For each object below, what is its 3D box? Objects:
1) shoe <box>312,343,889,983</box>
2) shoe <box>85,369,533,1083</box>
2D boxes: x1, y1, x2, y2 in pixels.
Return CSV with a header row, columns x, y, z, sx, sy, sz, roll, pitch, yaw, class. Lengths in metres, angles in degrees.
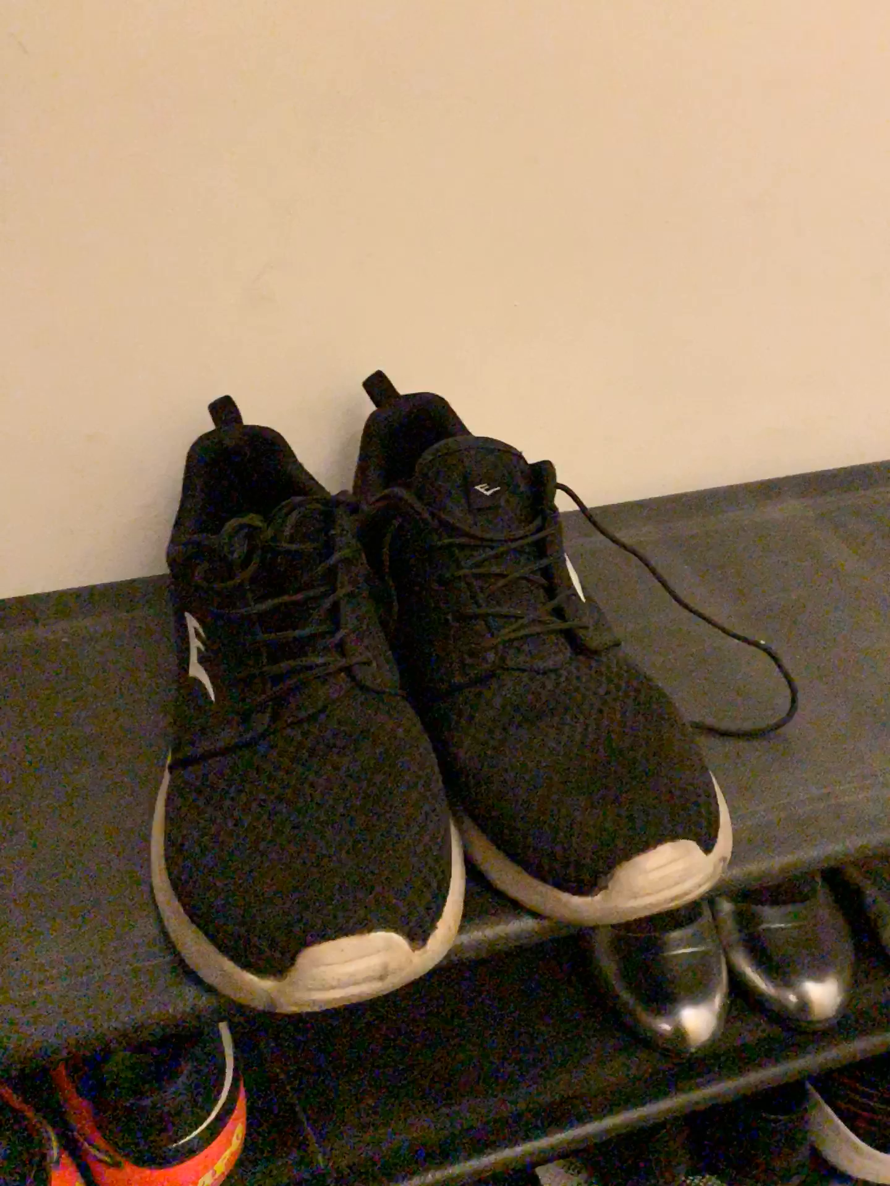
x,y,z,sx,sy,sz,roll,pitch,yaw,class
0.032,-0.008,0.399,0.120,0.099,0.303,-10,34,-13,shoe
-0.068,0.013,0.374,0.110,0.099,0.303,-9,34,-12,shoe
